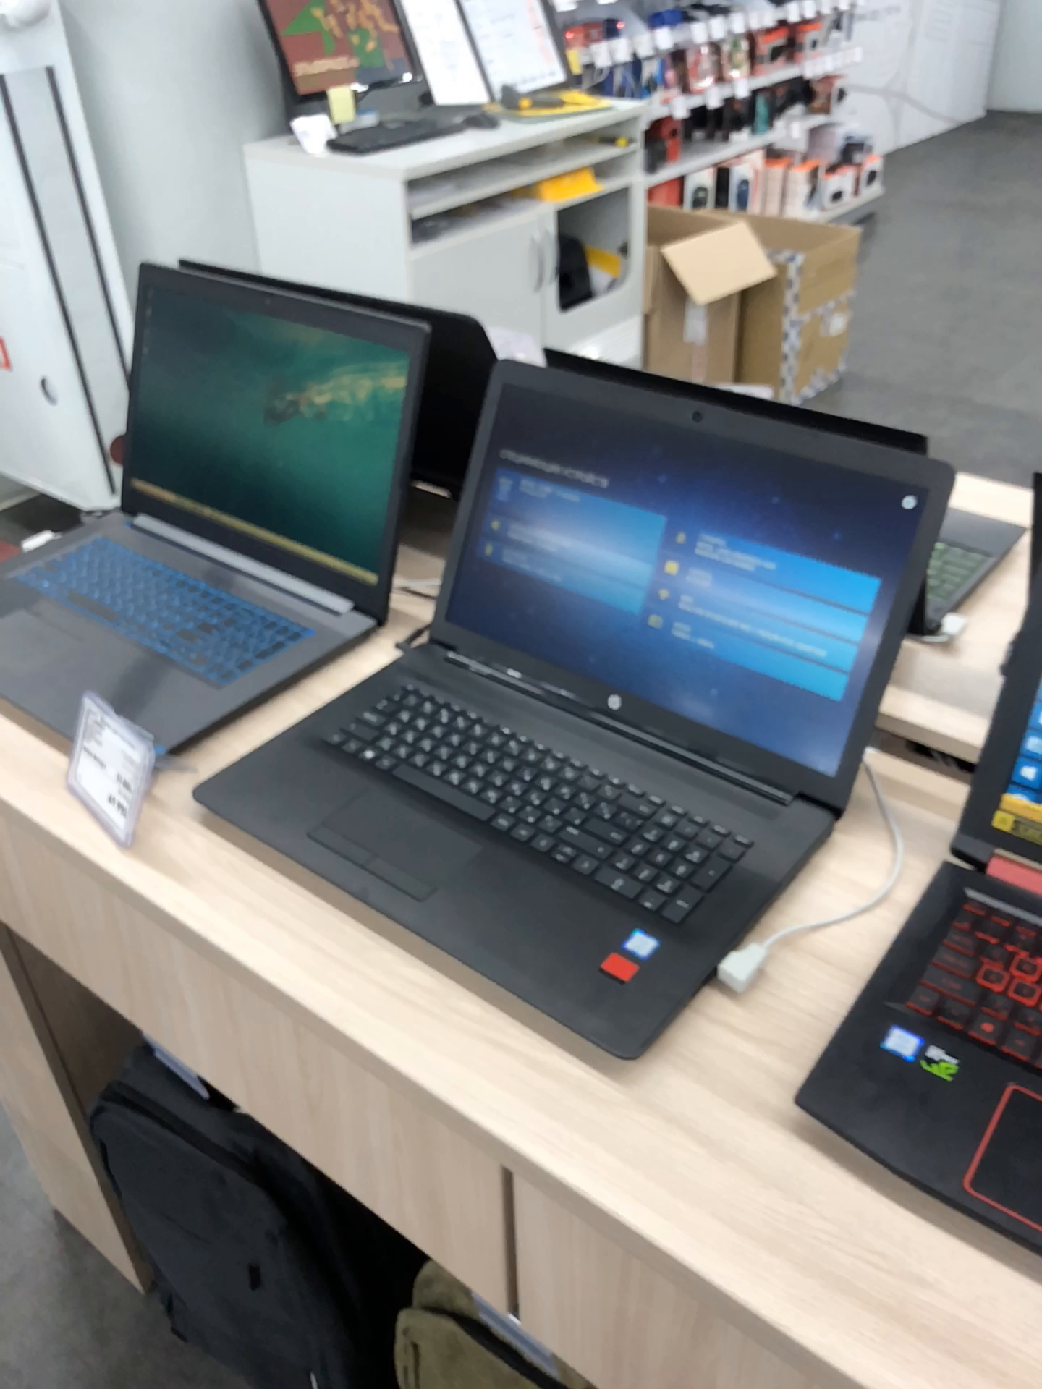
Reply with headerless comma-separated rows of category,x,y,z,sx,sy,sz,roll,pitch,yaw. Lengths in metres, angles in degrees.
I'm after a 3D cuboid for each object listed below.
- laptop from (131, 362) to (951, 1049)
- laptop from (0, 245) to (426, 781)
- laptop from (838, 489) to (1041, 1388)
laptop,0.022,-0.039,0.819,0.388,0.213,0.374,23,43,32
laptop,-0.345,-0.199,1.041,0.381,0.226,0.373,24,43,28
laptop,0.398,0.123,0.551,0.403,0.224,0.303,21,44,31
